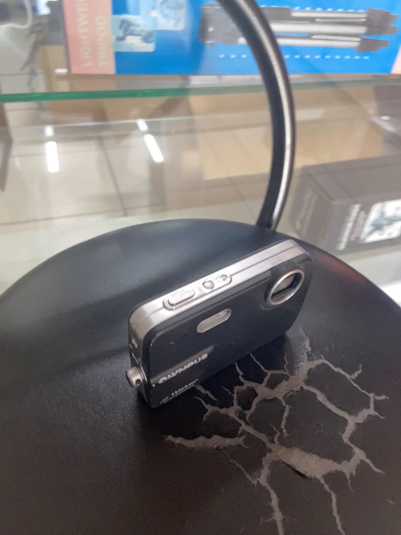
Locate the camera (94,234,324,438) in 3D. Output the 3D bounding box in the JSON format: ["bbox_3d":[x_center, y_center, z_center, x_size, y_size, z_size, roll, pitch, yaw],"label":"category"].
[{"bbox_3d":[0.005,0.031,0.201,0.100,0.060,0.030,-22,50,-26],"label":"camera"}]
